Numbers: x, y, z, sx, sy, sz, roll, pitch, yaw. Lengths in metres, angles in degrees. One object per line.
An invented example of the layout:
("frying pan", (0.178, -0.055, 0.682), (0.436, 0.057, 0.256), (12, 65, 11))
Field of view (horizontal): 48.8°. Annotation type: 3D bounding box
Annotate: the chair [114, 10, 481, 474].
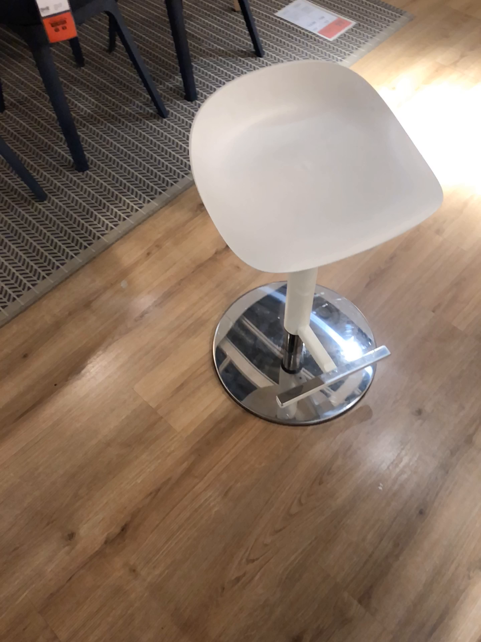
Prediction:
("chair", (0.112, -0.102, 1.065), (0.440, 0.698, 0.451), (-26, 60, -14))
